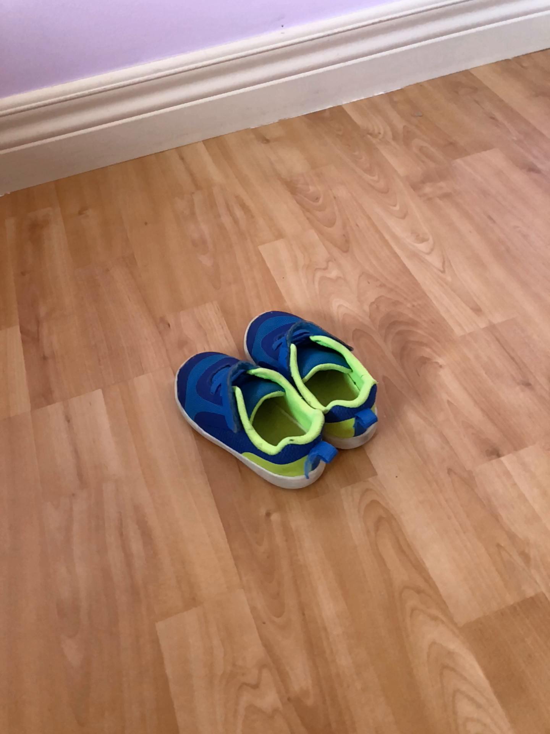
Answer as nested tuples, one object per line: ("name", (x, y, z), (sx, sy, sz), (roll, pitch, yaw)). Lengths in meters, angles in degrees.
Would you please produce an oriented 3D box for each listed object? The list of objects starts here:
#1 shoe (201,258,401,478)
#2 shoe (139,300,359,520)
("shoe", (0.018, -0.004, 0.503), (0.080, 0.070, 0.160), (-29, 55, -17))
("shoe", (-0.021, 0.030, 0.491), (0.160, 0.070, 0.080), (36, 63, 28))
